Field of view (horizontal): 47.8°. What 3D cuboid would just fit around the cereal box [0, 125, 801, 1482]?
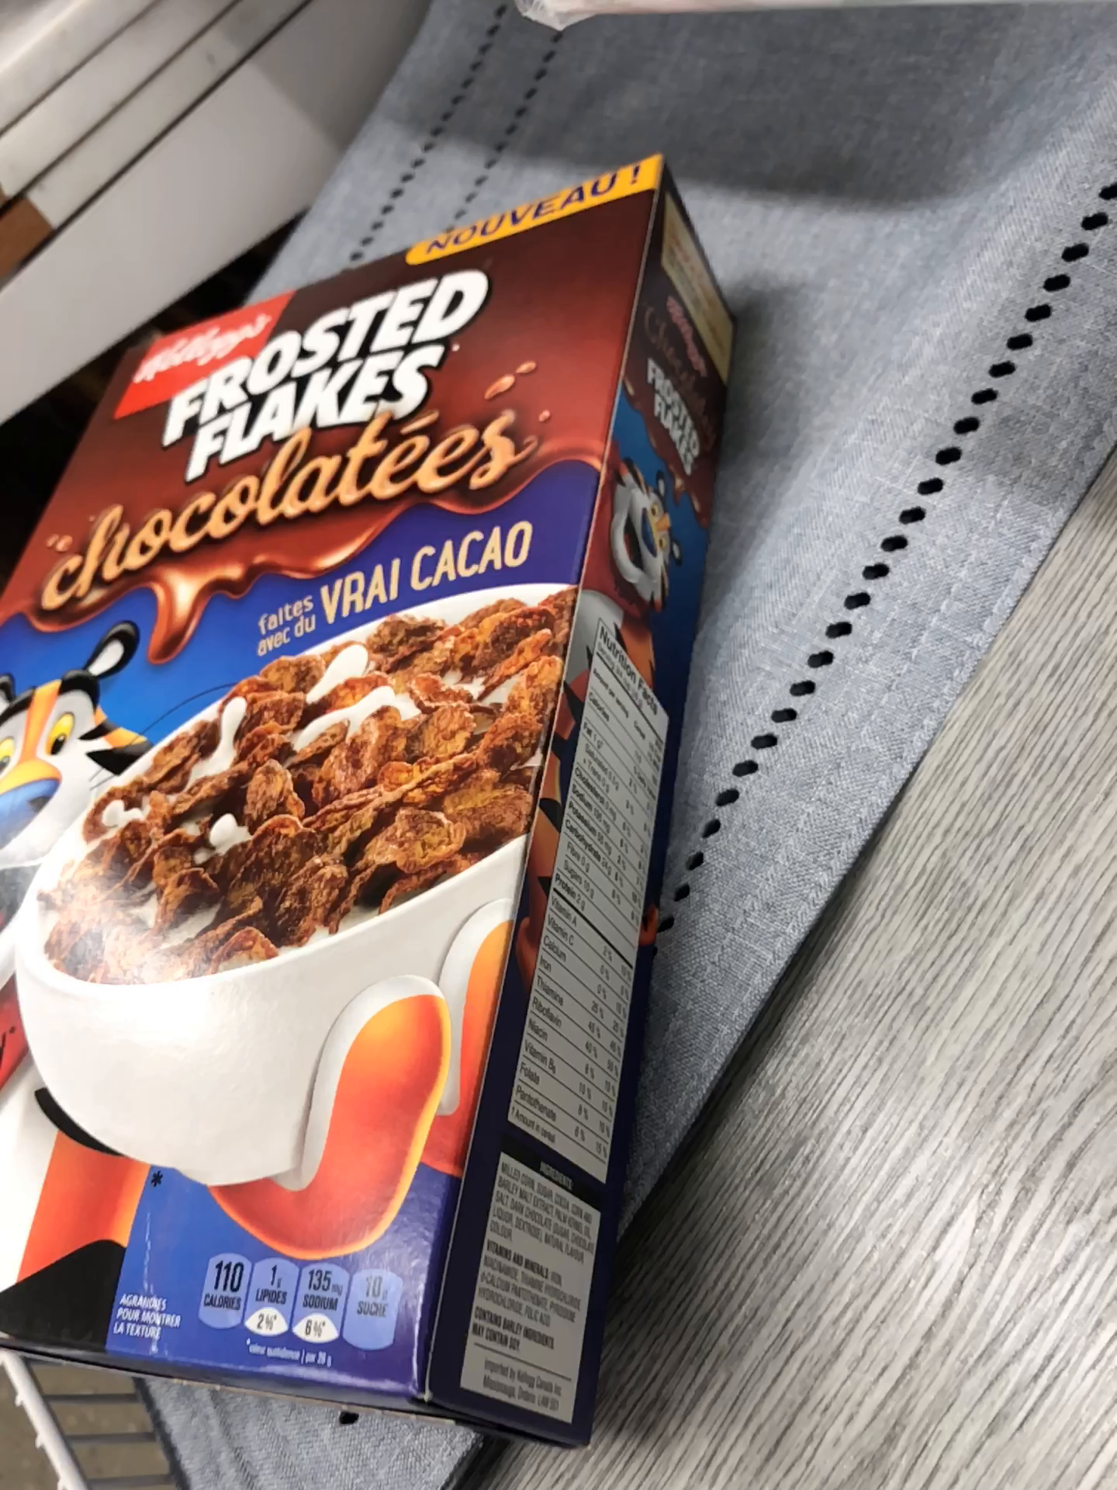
[{"bbox_3d":[-0.059,-0.006,0.329,0.211,0.070,0.310,-8,53,28],"label":"cereal box"}]
